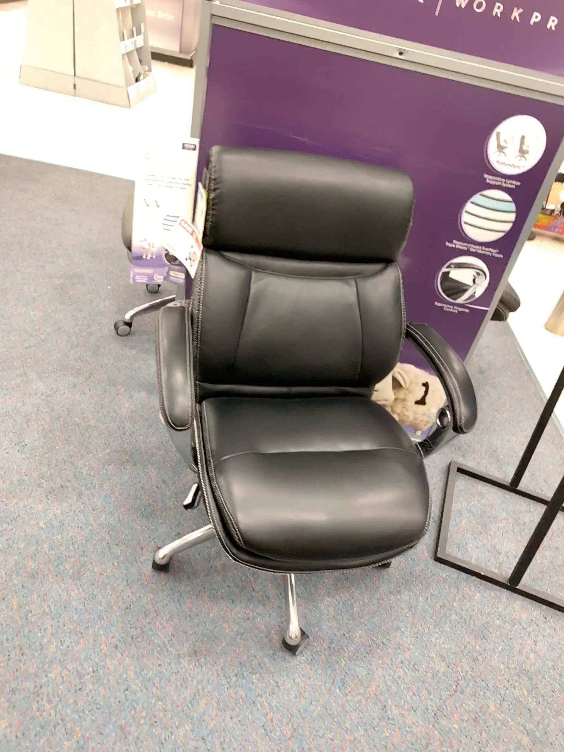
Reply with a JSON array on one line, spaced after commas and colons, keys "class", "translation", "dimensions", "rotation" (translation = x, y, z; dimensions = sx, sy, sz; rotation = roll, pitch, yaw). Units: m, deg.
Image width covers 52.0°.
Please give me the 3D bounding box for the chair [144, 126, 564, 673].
[{"class": "chair", "translation": [0.076, 0.054, 1.395], "dimensions": [0.738, 0.946, 0.785], "rotation": [3, 37, -15]}]
